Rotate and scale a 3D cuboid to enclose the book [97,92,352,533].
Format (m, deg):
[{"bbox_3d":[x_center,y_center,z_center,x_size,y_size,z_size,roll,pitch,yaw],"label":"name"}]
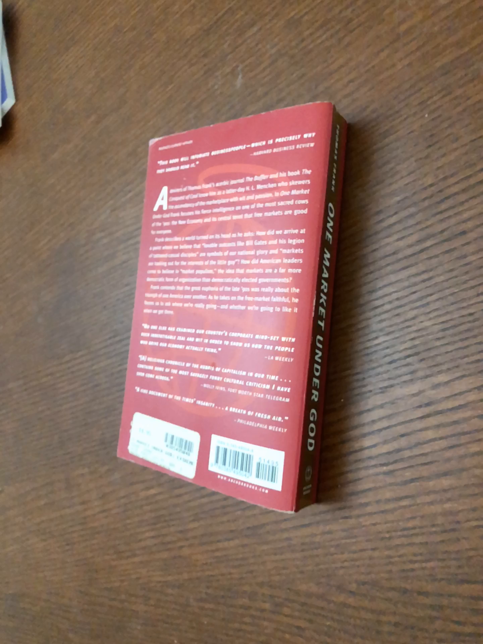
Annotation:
[{"bbox_3d":[-0.017,-0.009,0.311,0.141,0.030,0.210,4,87,39],"label":"book"}]
